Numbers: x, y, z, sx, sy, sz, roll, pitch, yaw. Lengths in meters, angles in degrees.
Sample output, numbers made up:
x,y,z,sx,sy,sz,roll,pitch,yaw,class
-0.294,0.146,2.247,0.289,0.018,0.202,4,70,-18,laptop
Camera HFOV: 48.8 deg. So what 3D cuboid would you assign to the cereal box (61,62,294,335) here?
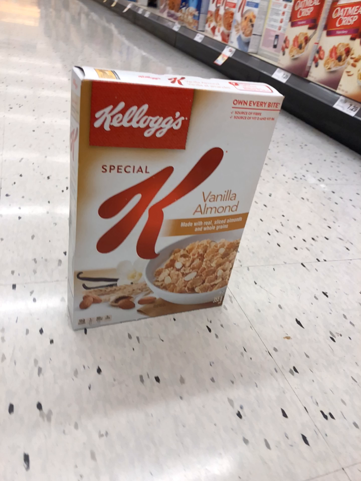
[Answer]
x,y,z,sx,sy,sz,roll,pitch,yaw,class
-0.016,-0.031,0.415,0.200,0.258,0.050,-4,33,-25,cereal box
